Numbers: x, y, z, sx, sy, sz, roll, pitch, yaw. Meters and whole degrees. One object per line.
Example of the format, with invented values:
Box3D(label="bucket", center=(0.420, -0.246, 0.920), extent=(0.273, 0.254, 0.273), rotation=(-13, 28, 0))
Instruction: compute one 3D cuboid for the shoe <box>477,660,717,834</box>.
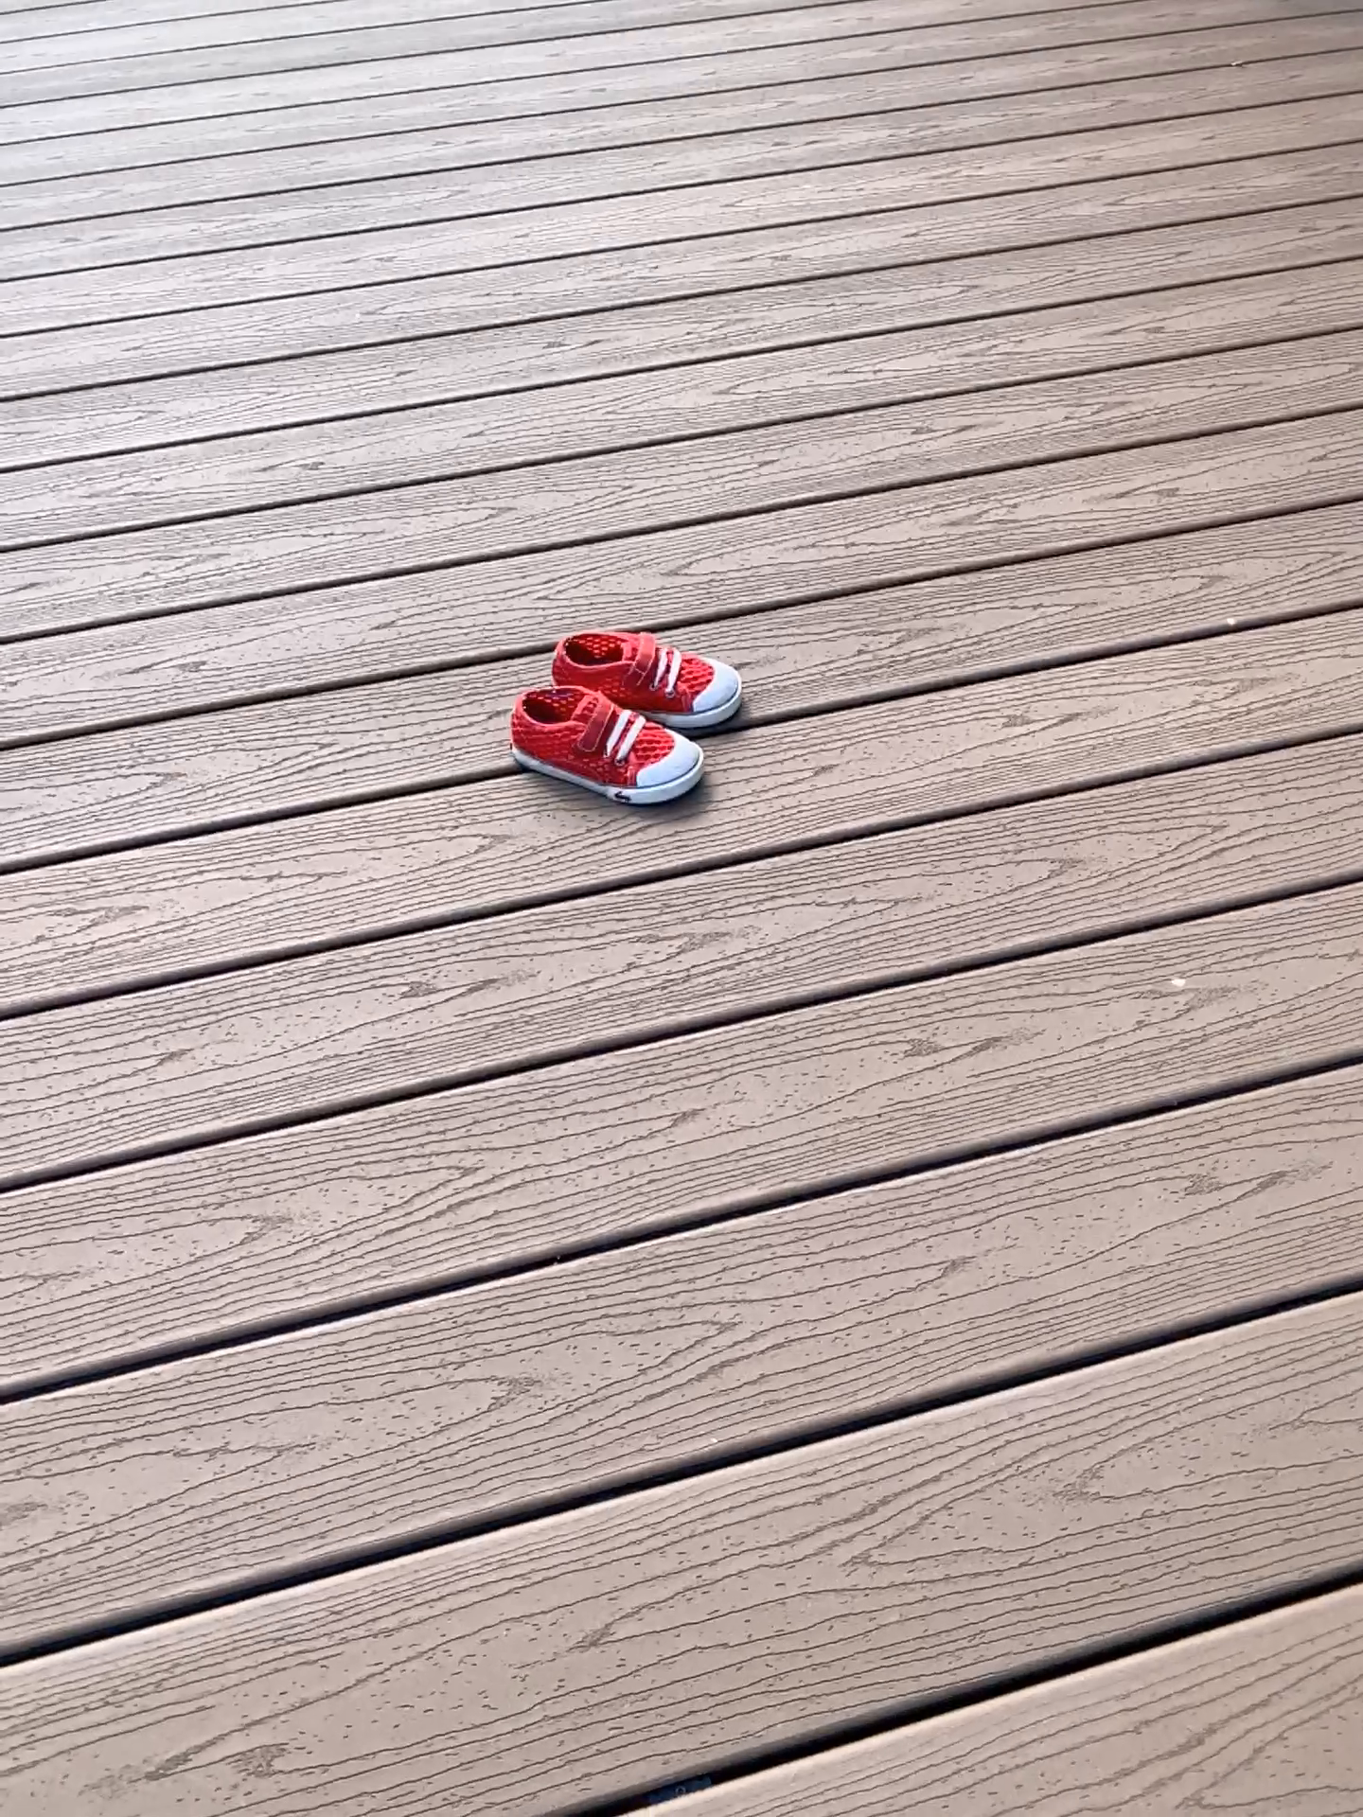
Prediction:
Box3D(label="shoe", center=(-0.070, -0.140, 1.184), extent=(0.180, 0.060, 0.090), rotation=(18, 53, 17))

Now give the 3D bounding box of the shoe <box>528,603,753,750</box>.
Box3D(label="shoe", center=(-0.035, -0.210, 1.248), extent=(0.180, 0.060, 0.090), rotation=(12, 51, 12))
